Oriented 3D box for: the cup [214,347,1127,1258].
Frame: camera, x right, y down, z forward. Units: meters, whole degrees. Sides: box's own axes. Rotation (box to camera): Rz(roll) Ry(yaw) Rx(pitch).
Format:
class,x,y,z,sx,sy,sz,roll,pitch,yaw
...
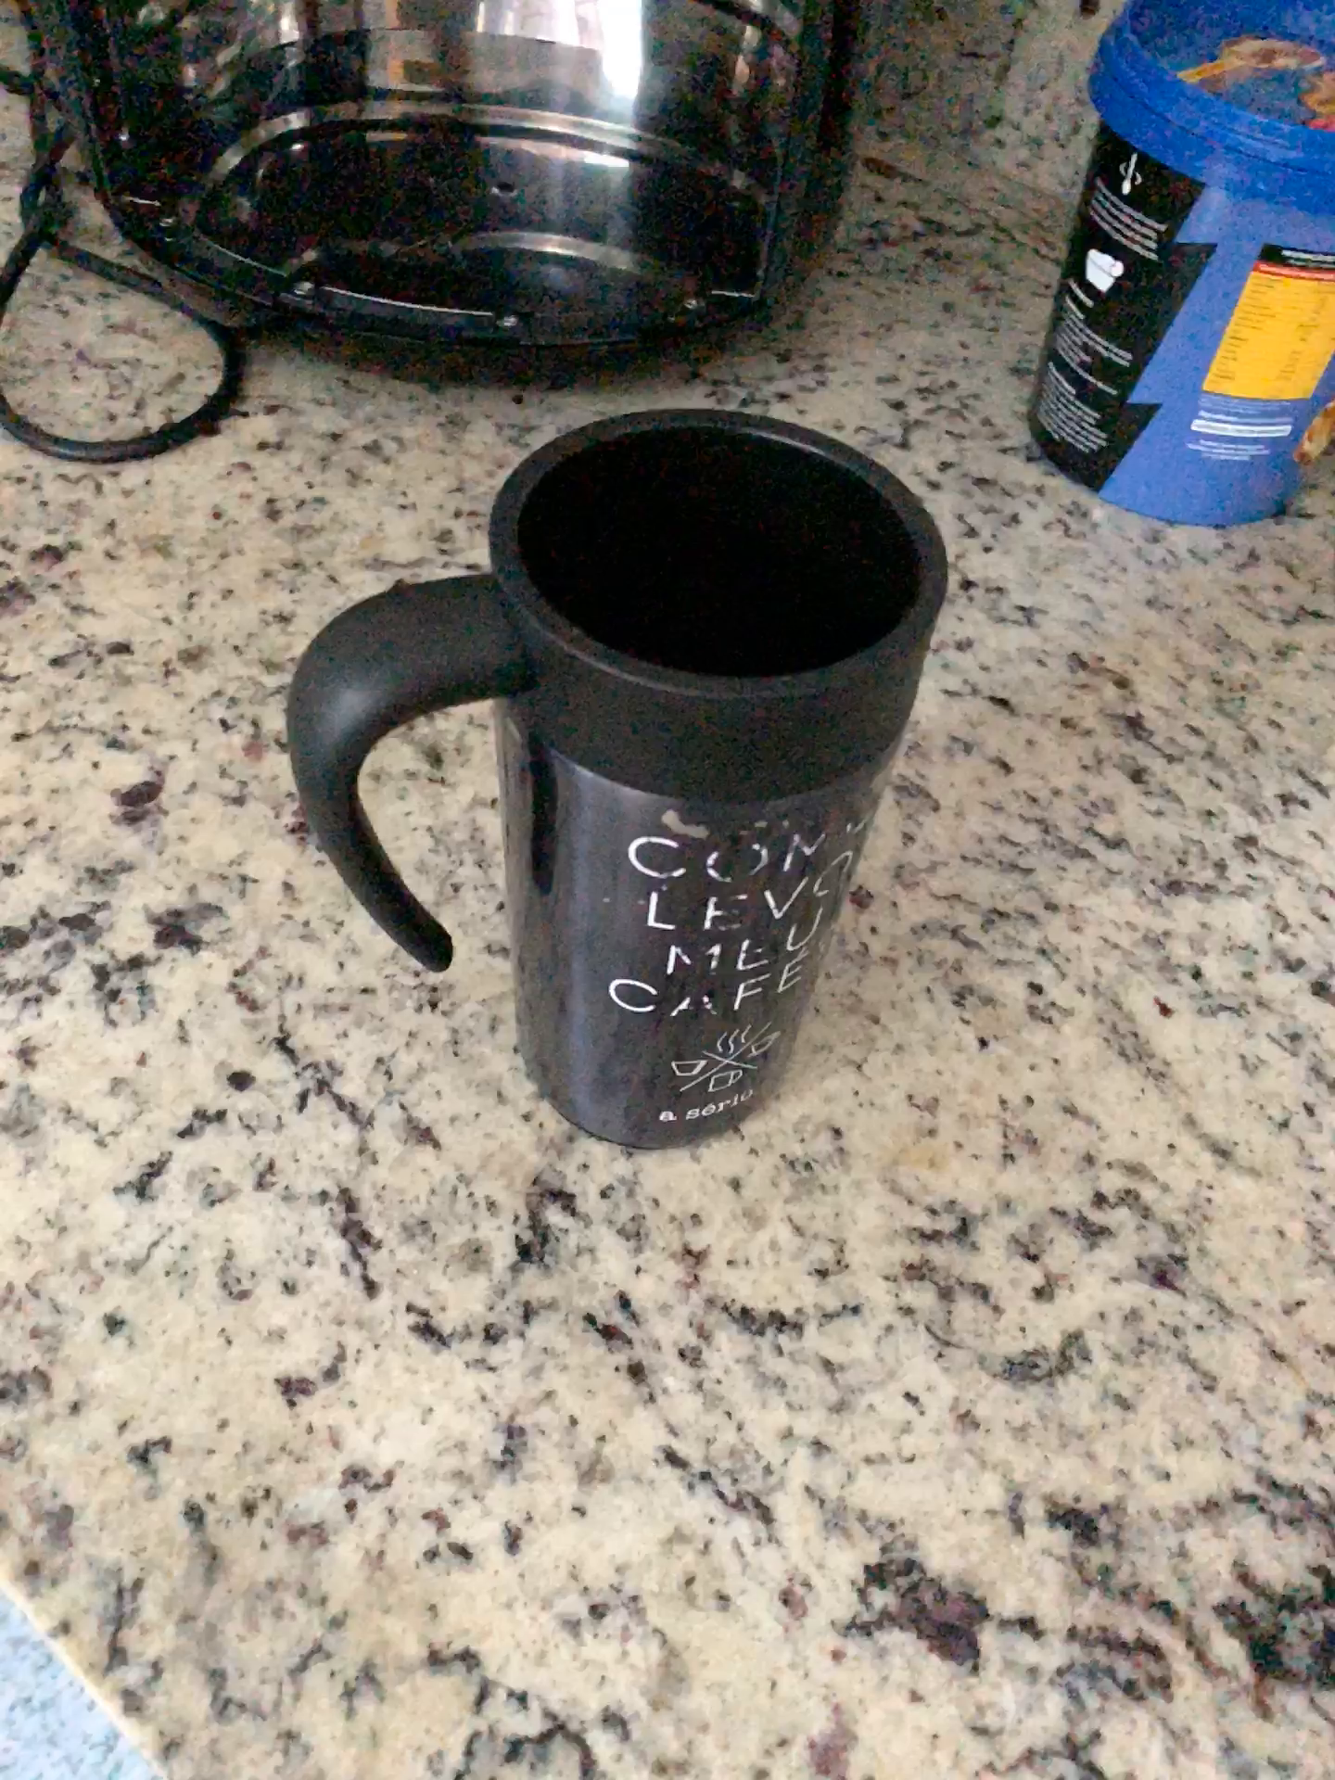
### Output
class,x,y,z,sx,sy,sz,roll,pitch,yaw
cup,-0.008,-0.012,0.264,0.120,0.139,0.080,-12,53,-16
